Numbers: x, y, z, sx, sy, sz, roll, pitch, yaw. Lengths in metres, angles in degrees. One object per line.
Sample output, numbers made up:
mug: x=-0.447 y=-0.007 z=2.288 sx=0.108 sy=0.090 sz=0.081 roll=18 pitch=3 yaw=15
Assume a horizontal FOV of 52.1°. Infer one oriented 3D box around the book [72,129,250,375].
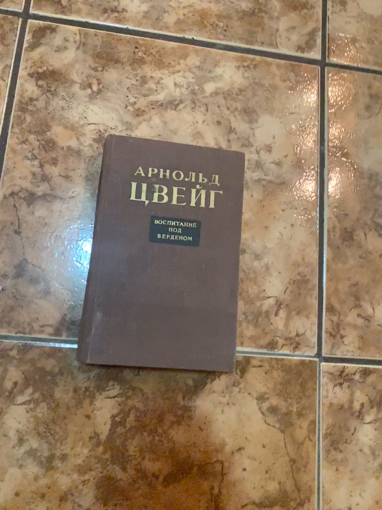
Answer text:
book: x=-0.023 y=-0.002 z=0.360 sx=0.139 sy=0.035 sz=0.205 roll=6 pitch=80 yaw=-7
